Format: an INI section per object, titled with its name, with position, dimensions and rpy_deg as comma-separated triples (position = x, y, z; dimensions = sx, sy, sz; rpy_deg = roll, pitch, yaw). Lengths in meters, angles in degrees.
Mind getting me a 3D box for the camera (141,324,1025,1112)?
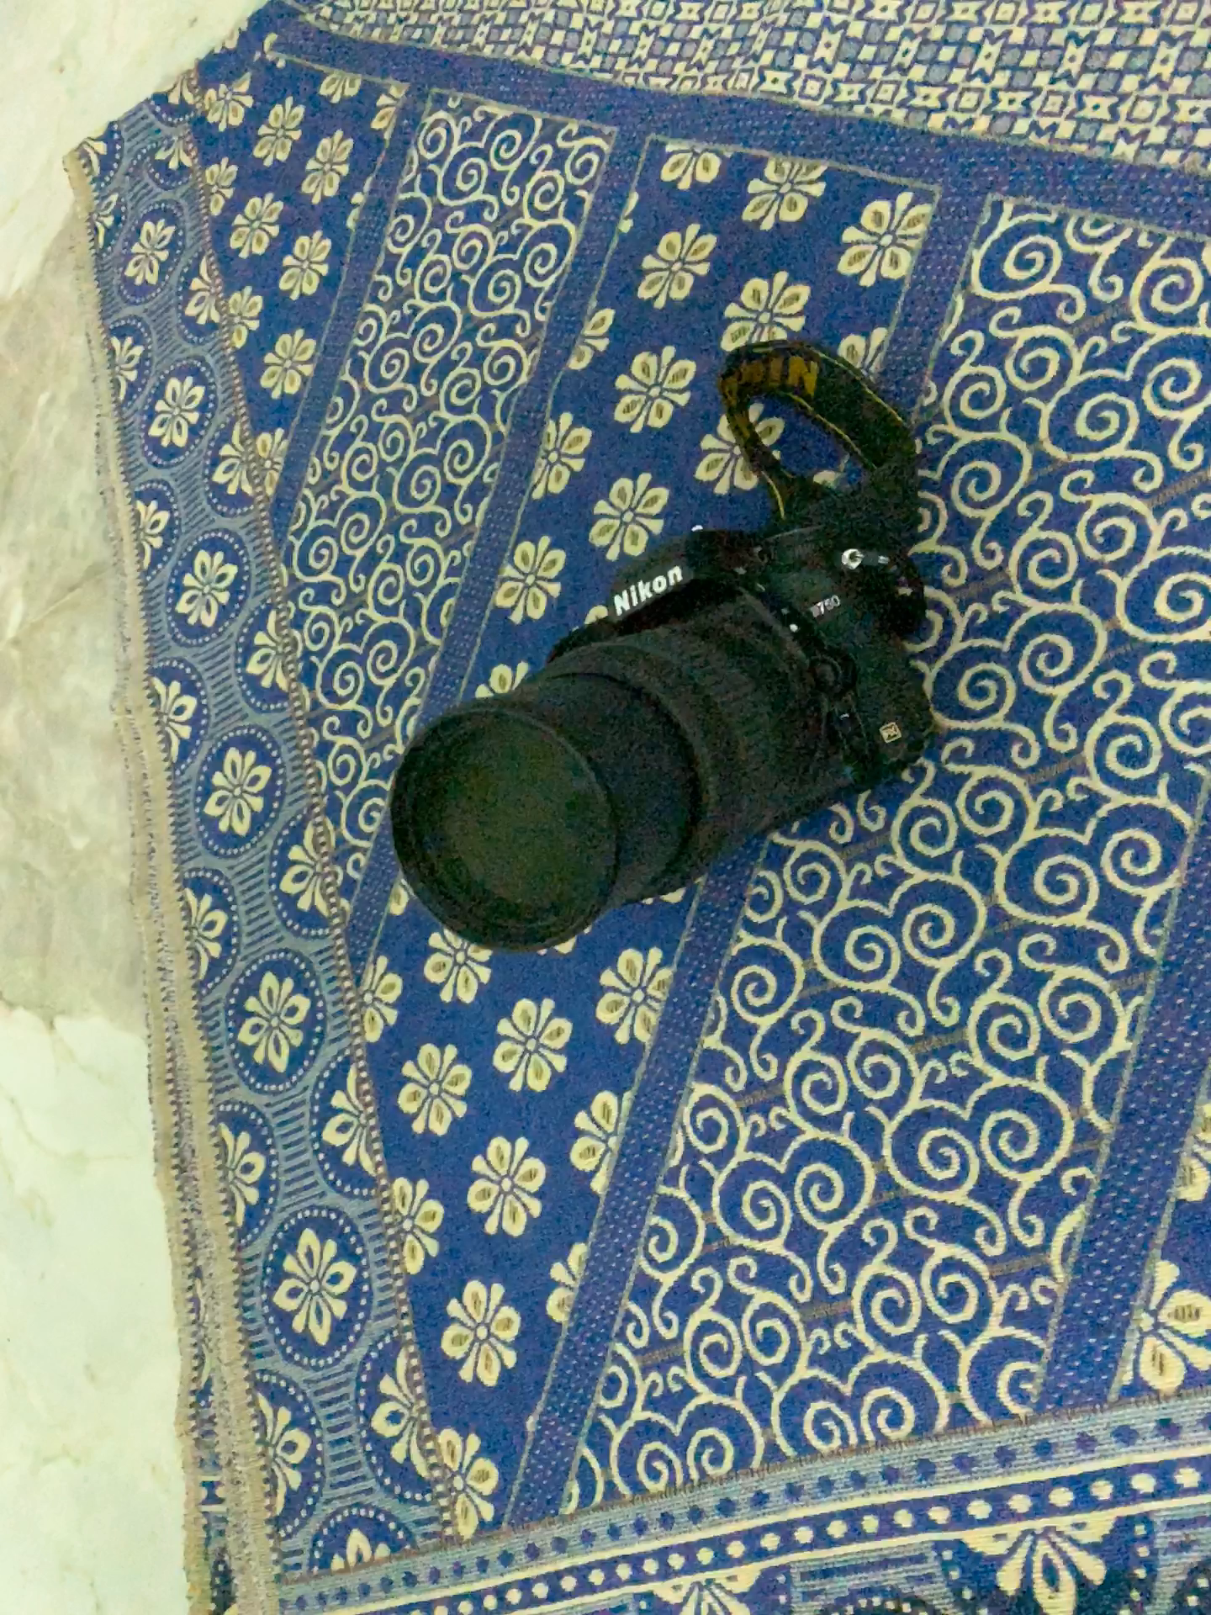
[camera]
position = 0.008, -0.018, 0.371
dimensions = 0.161, 0.191, 0.130
rpy_deg = -24, 83, 27
